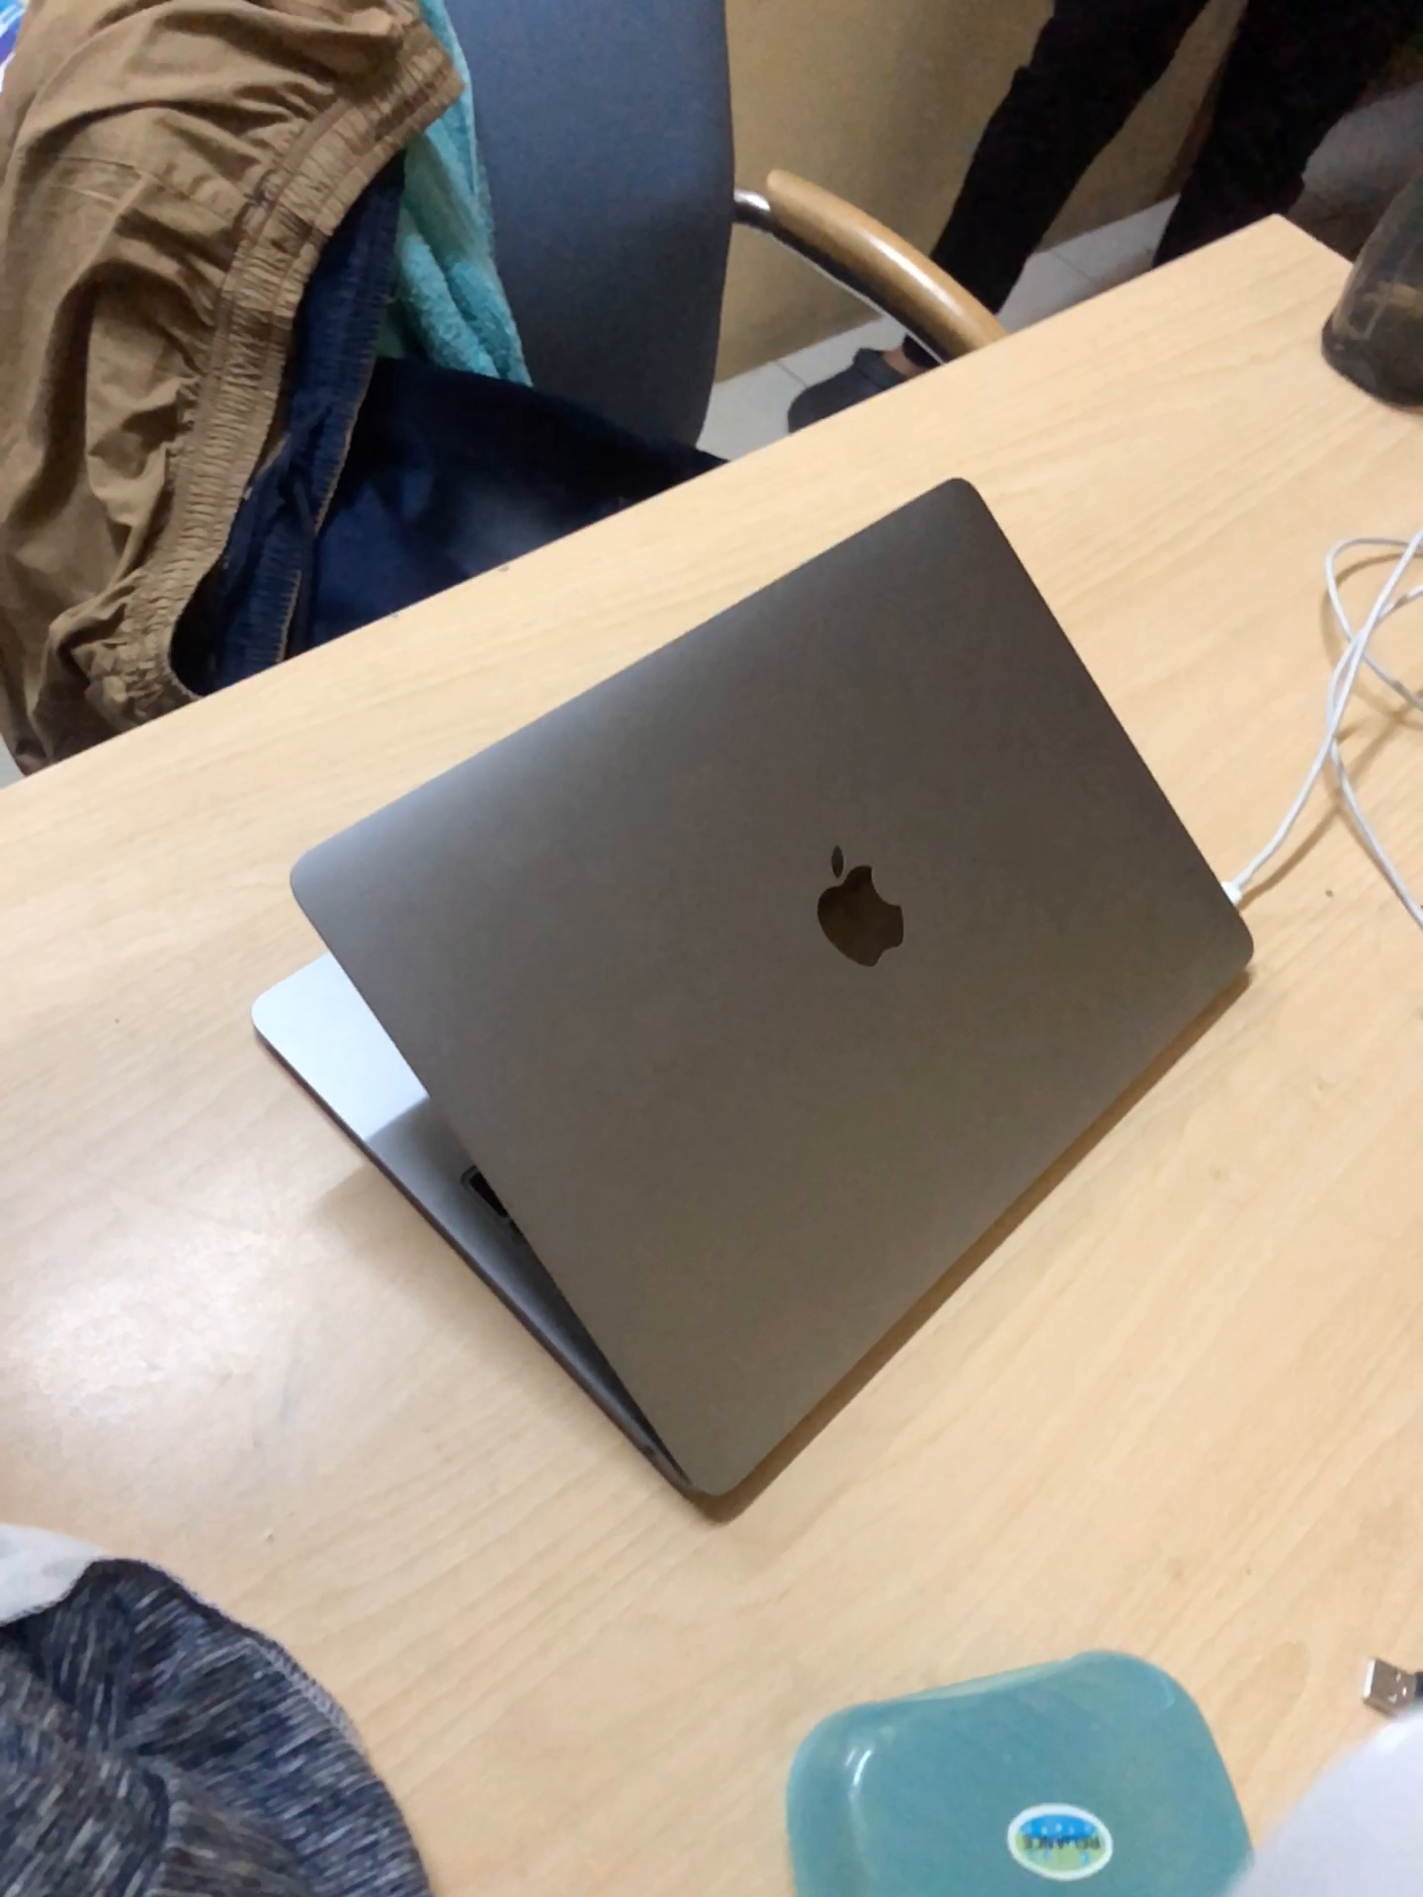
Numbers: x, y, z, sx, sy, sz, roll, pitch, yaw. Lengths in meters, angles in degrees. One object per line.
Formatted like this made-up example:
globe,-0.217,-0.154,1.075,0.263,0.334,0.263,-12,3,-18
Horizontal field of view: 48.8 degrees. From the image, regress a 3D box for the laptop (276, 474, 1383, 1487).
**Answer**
laptop,0.042,-0.013,0.504,0.193,0.094,0.295,42,56,19
